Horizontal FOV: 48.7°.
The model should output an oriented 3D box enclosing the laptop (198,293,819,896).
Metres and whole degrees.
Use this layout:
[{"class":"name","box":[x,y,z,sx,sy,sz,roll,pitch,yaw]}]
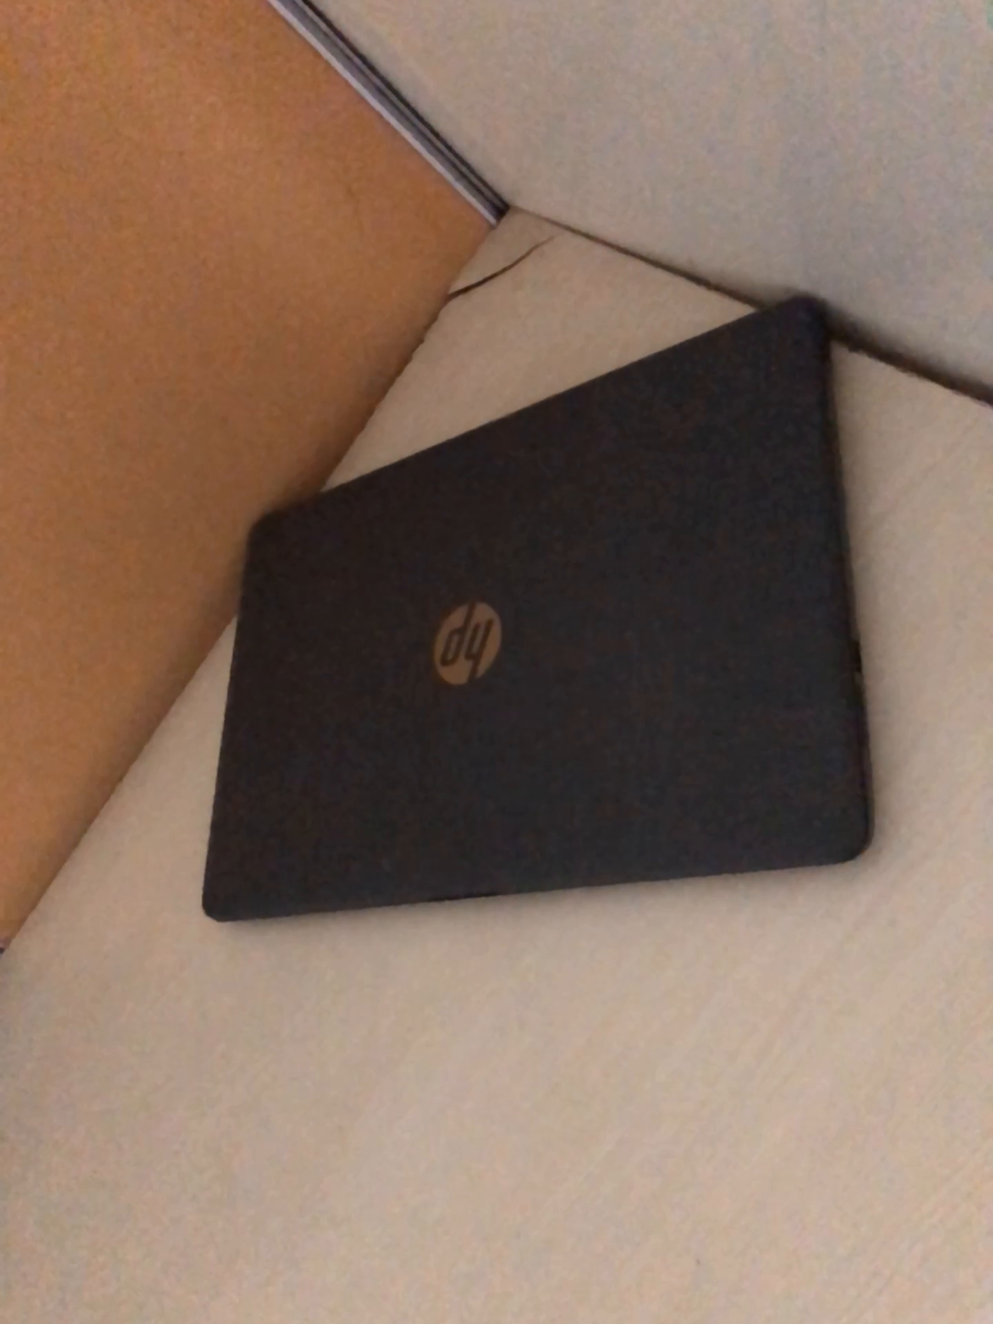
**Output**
[{"class":"laptop","box":[-0.017,-0.016,0.543,0.357,0.004,0.236,-14,62,37]}]
